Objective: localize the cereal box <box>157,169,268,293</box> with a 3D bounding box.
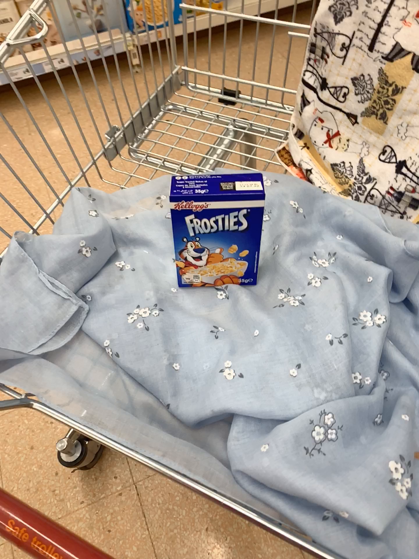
[{"bbox_3d":[0.005,-0.045,0.444,0.100,0.129,0.040,-2,47,2],"label":"cereal box"}]
